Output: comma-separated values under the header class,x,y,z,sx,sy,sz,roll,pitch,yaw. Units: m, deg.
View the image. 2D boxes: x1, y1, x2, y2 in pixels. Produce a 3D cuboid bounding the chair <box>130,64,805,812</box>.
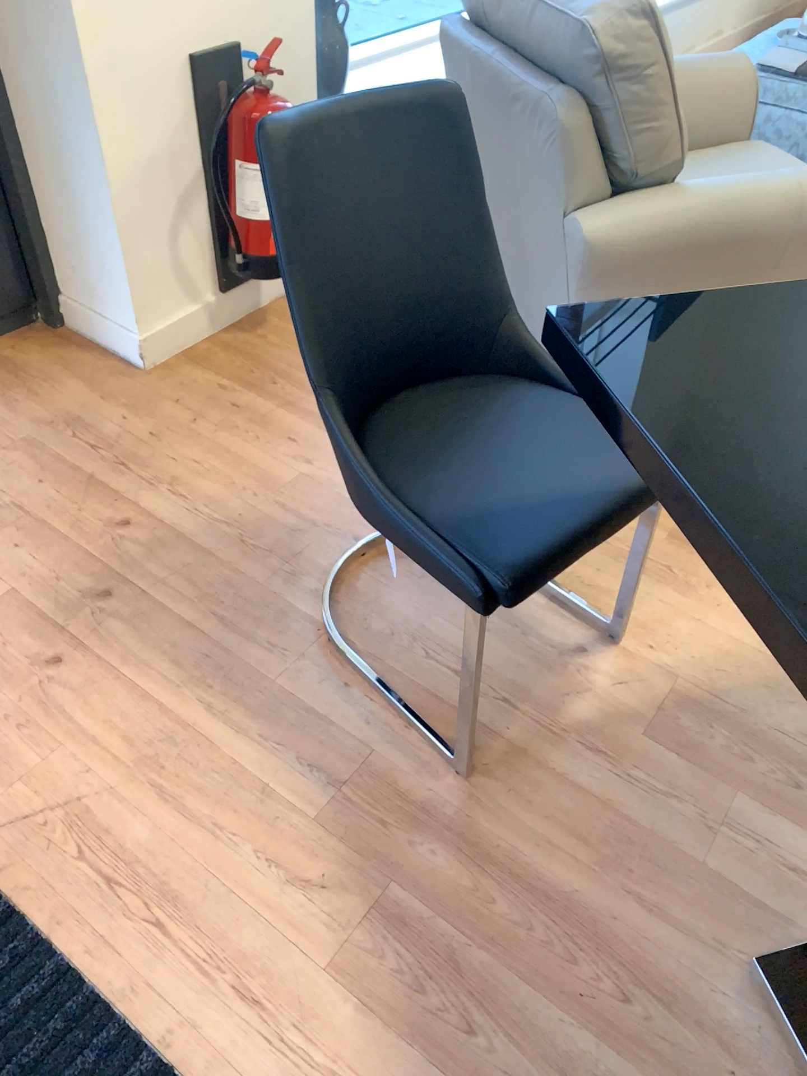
class,x,y,z,sx,sy,sz,roll,pitch,yaw
chair,0.055,-0.164,1.252,0.632,0.812,0.508,34,50,29
